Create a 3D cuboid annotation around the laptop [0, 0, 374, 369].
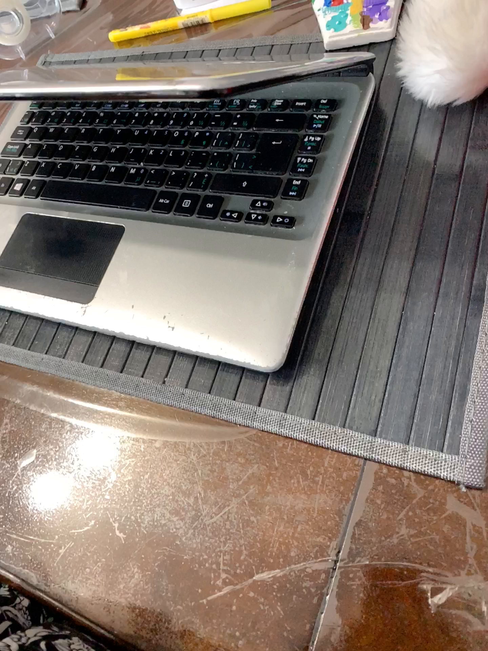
[{"bbox_3d":[-0.119,-0.136,0.335,0.344,0.141,0.225,11,71,24],"label":"laptop"}]
